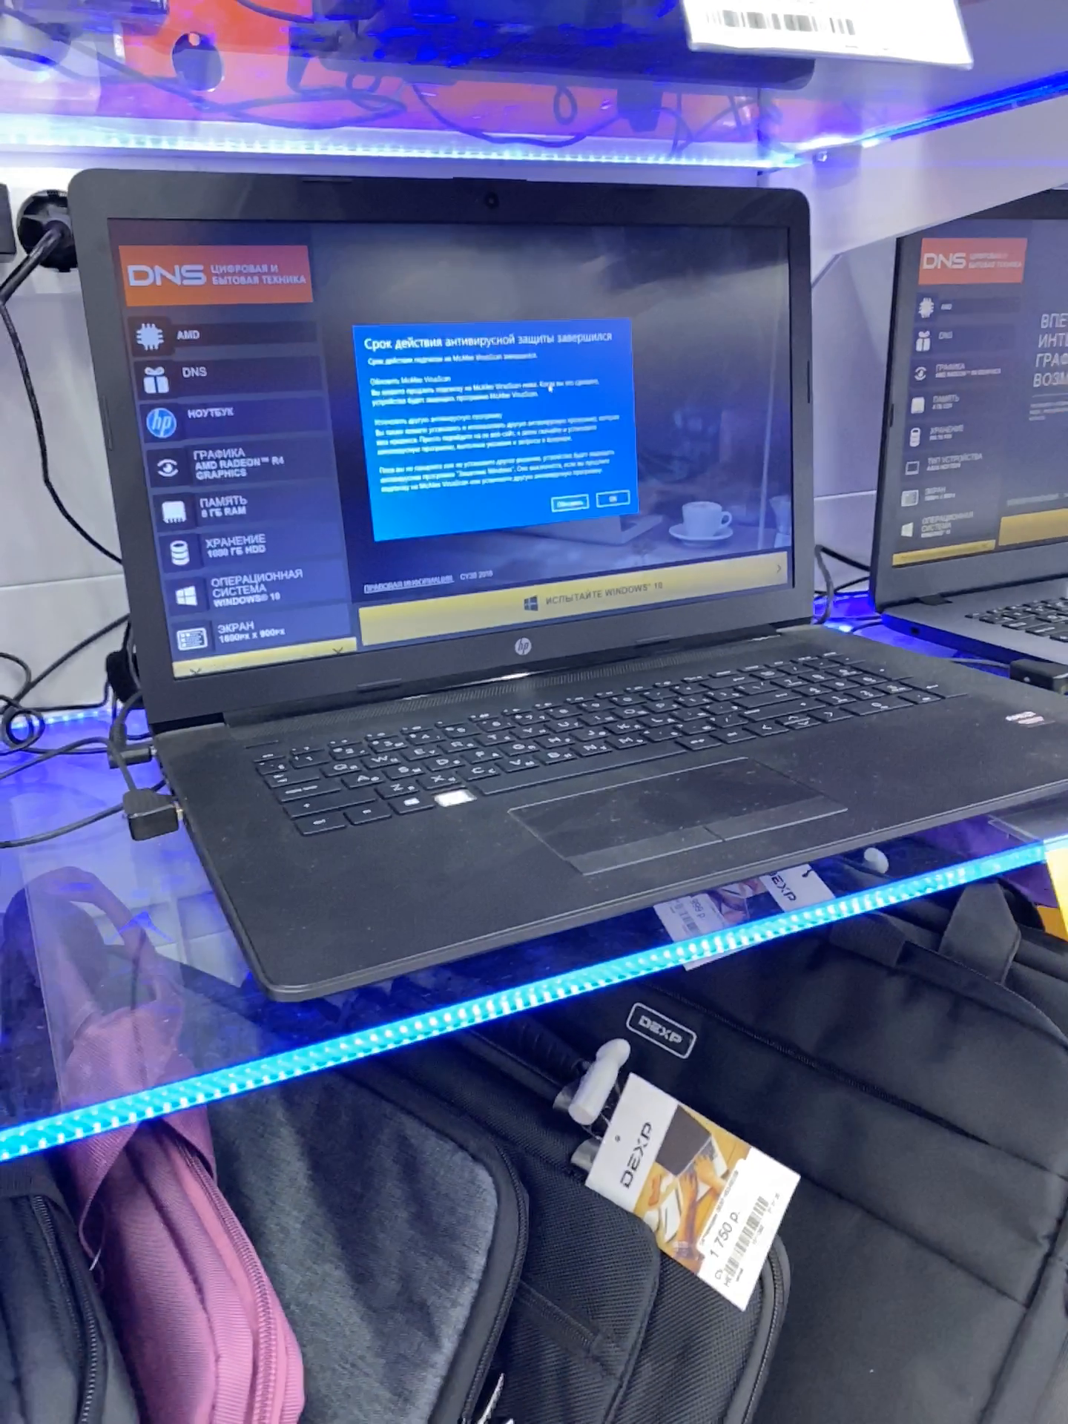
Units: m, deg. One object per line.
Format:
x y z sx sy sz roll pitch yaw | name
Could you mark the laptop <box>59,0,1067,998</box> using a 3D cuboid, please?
0.042 -0.113 0.495 0.419 0.260 0.295 -10 19 -25 | laptop
